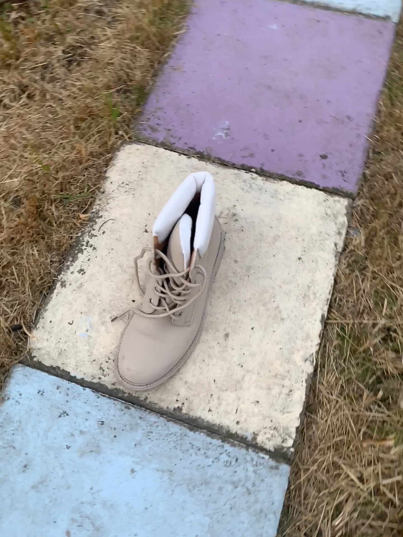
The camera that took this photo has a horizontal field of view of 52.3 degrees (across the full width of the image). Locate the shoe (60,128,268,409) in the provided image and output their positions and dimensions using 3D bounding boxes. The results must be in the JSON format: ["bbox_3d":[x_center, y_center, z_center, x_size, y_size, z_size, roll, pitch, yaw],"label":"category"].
[{"bbox_3d":[-0.029,0.013,0.509,0.100,0.199,0.281,22,70,8],"label":"shoe"}]
